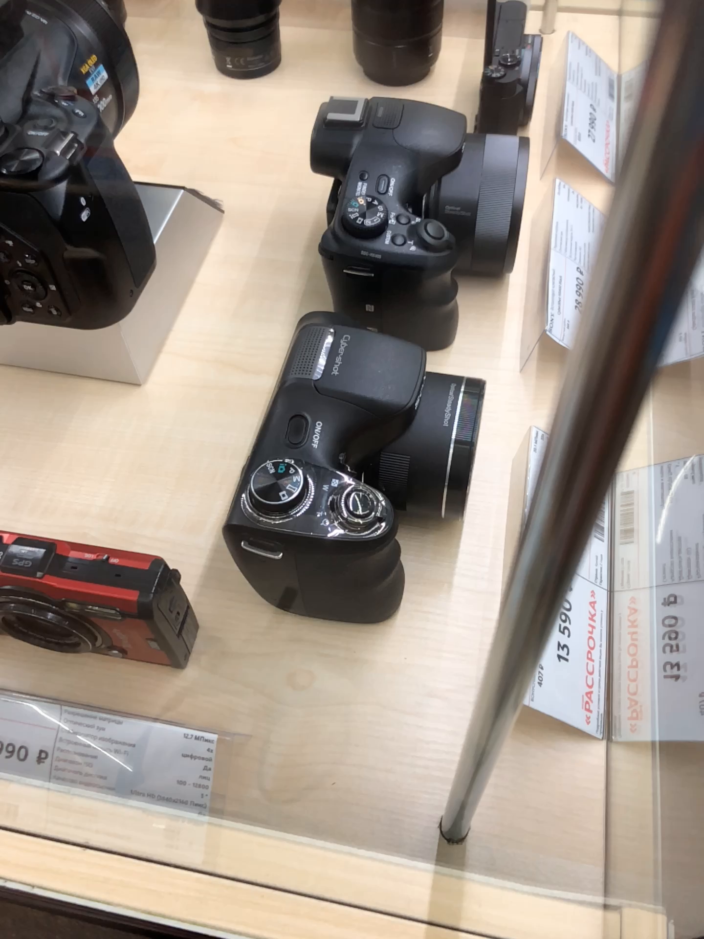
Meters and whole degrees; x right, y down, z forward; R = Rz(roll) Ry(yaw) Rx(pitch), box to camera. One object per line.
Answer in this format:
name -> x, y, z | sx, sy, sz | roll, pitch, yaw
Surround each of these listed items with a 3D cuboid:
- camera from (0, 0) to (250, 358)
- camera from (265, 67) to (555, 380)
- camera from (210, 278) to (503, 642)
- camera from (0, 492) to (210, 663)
camera -> -0.138, -0.155, 0.348 | 0.132, 0.106, 0.169 | 7, 56, 8
camera -> 0.035, -0.136, 0.427 | 0.125, 0.097, 0.124 | 9, 56, 9
camera -> 0.009, -0.006, 0.338 | 0.091, 0.078, 0.124 | 9, 56, 9
camera -> -0.121, 0.045, 0.315 | 0.111, 0.069, 0.026 | 7, 56, 8
